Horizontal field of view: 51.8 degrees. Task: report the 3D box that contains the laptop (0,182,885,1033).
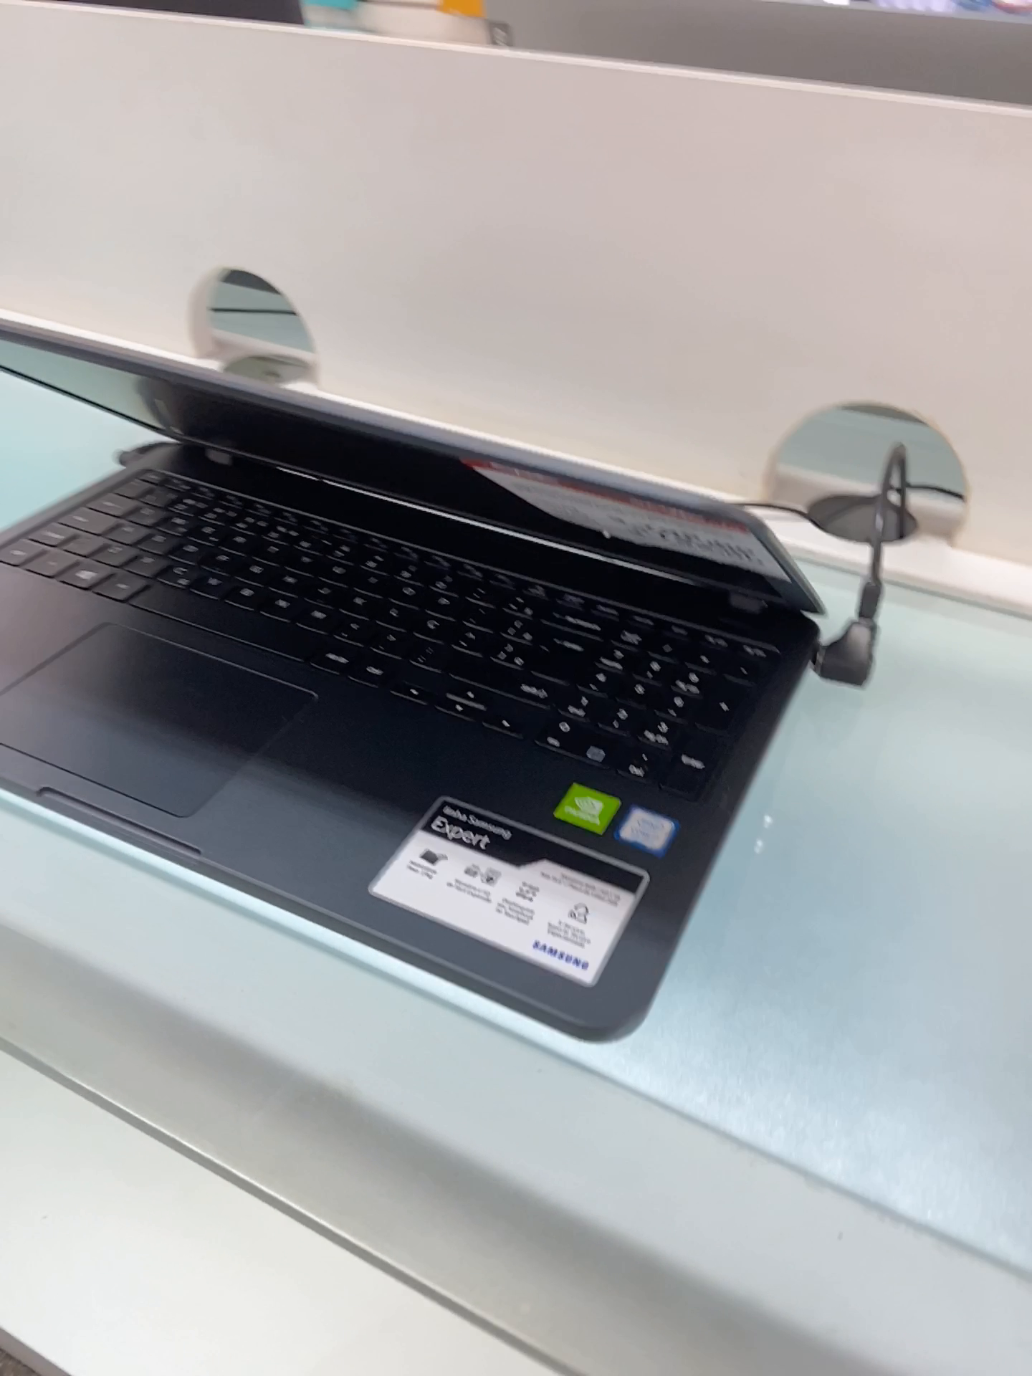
[{"bbox_3d":[-0.084,-0.074,0.420,0.377,0.139,0.240,18,41,19],"label":"laptop"}]
